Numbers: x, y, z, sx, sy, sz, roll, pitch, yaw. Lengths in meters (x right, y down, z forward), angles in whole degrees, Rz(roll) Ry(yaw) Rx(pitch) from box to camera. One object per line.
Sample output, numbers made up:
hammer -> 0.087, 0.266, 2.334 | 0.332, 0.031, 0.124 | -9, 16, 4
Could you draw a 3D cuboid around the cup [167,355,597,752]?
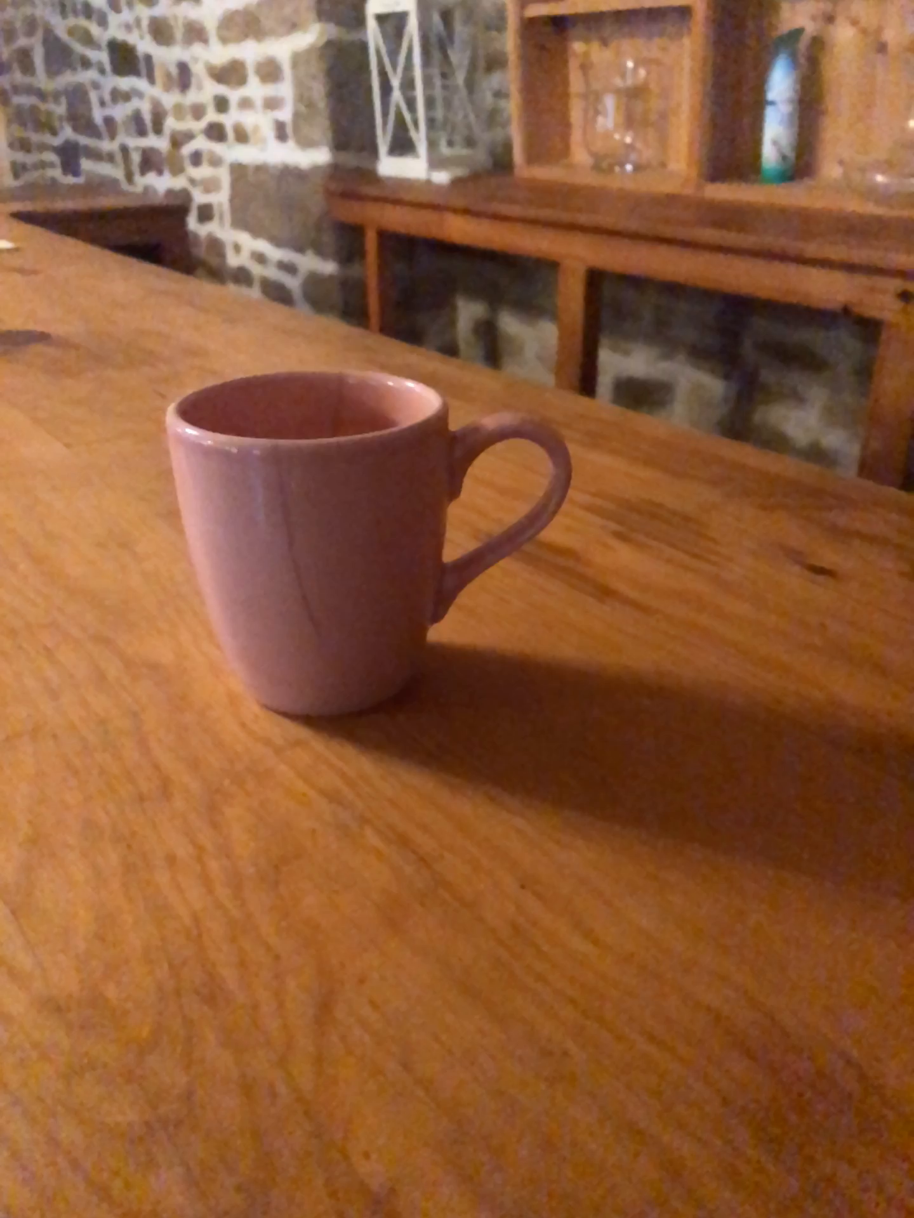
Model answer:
cup -> -0.028, -0.025, 0.342 | 0.121, 0.095, 0.090 | -6, 27, -12
